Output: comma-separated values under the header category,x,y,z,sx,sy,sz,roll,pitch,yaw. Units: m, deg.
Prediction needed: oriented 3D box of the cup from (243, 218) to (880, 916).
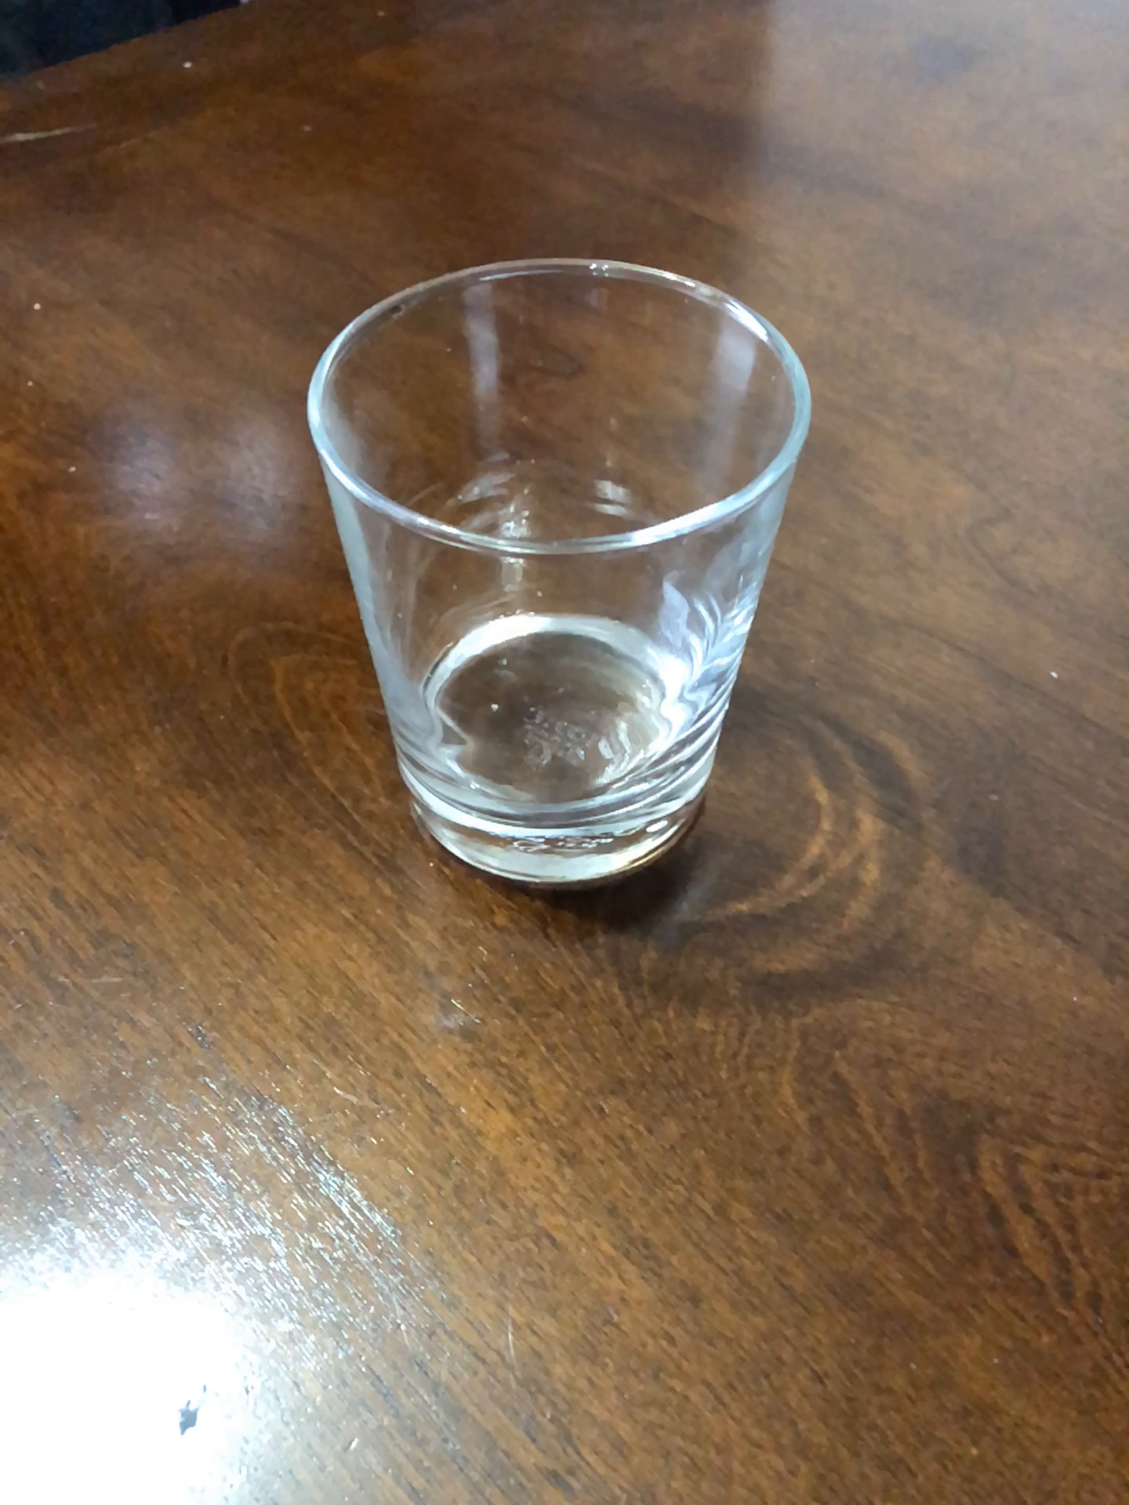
category,x,y,z,sx,sy,sz,roll,pitch,yaw
cup,0.002,-0.035,0.241,0.090,0.090,0.090,0,49,0
